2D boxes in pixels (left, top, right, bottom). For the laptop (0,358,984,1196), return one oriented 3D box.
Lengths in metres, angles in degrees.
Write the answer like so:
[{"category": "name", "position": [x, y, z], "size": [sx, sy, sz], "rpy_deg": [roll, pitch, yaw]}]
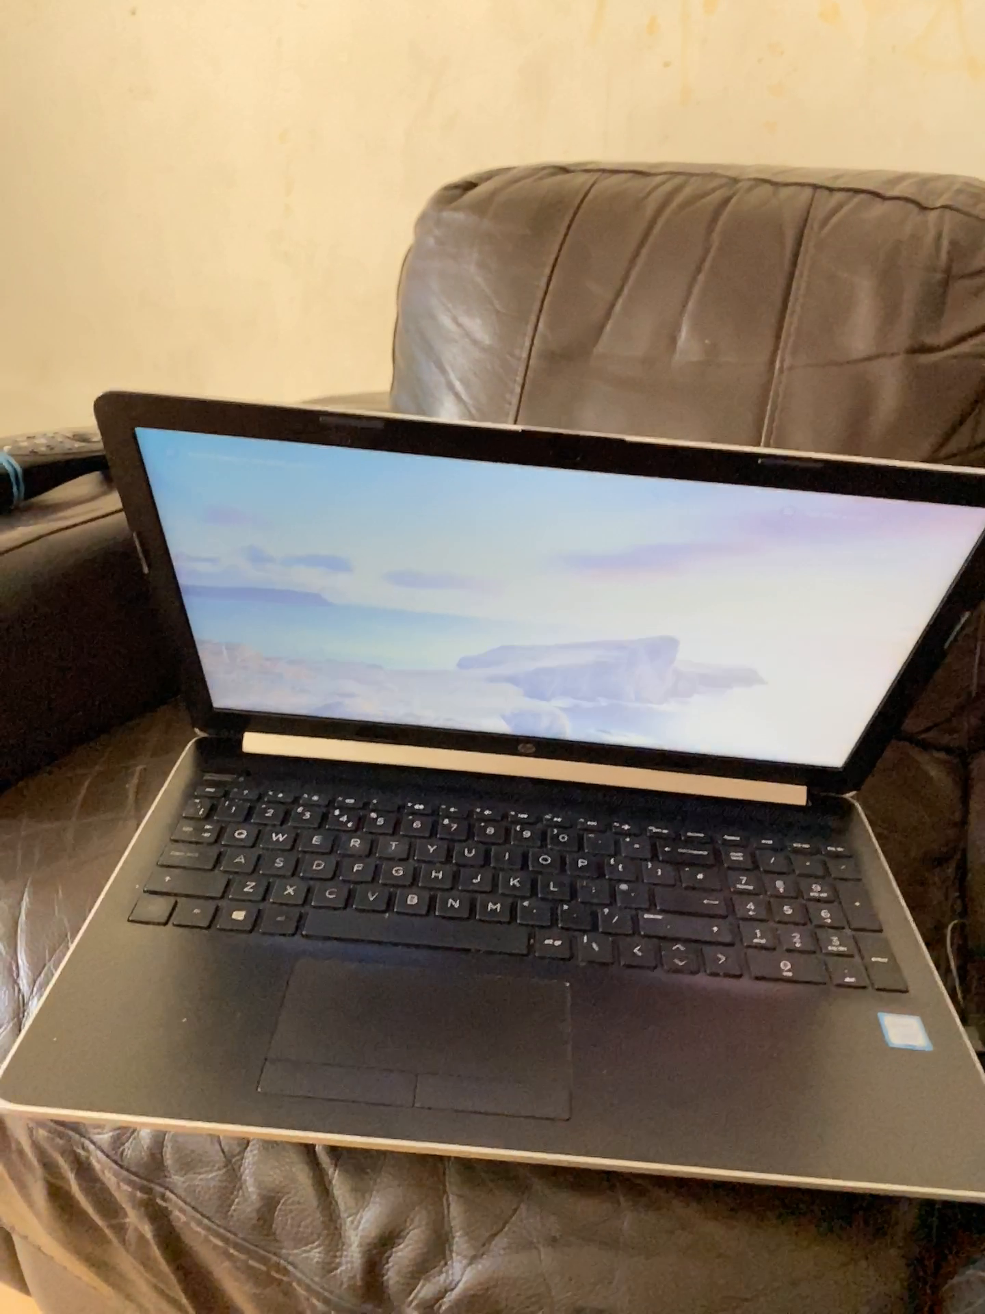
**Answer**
[{"category": "laptop", "position": [0.014, 0.023, 0.420], "size": [0.371, 0.211, 0.238], "rpy_deg": [4, 26, 1]}]
